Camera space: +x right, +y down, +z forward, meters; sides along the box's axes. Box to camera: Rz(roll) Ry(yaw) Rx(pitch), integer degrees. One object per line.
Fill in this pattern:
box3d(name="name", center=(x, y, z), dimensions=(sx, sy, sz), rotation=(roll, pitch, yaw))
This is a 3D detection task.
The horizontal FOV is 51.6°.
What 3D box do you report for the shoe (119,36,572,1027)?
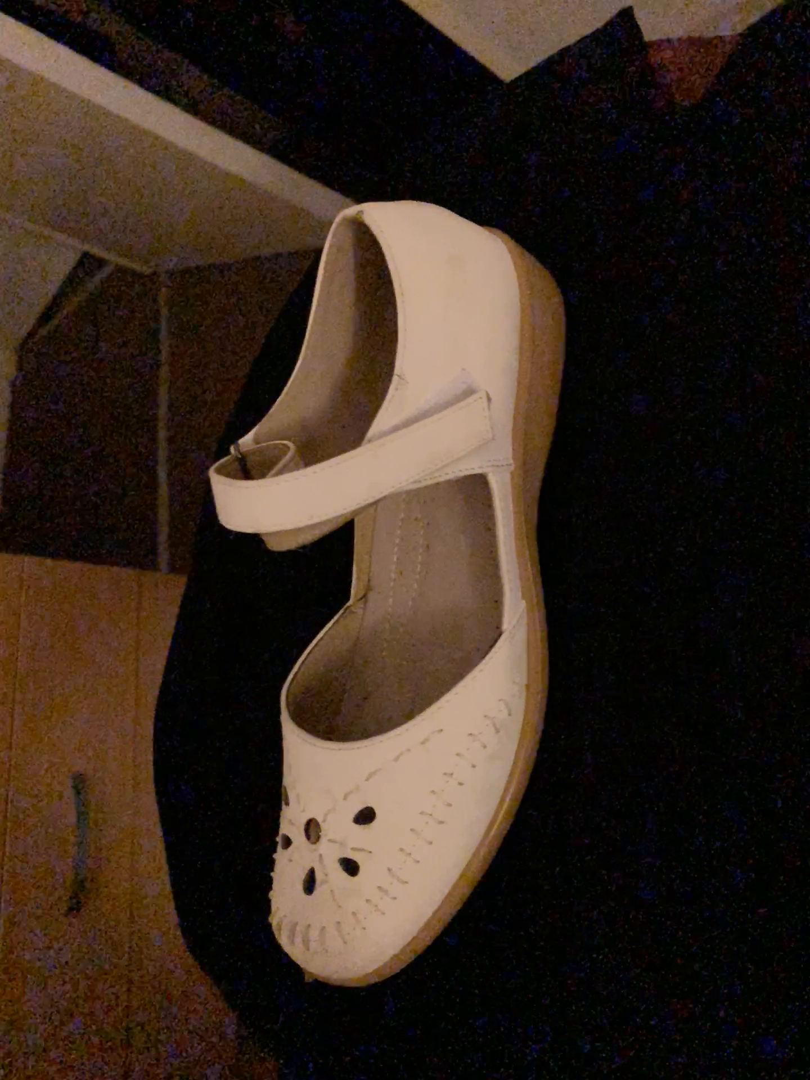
box3d(name="shoe", center=(-0.015, -0.004, 0.292), dimensions=(0.098, 0.099, 0.270), rotation=(-7, 75, 47))
